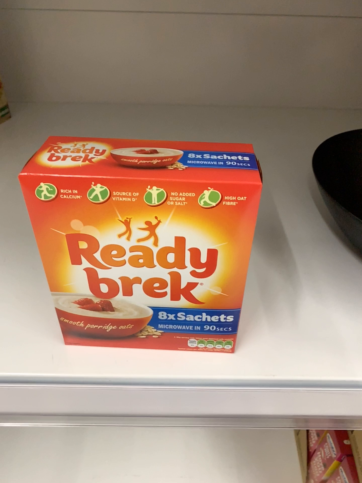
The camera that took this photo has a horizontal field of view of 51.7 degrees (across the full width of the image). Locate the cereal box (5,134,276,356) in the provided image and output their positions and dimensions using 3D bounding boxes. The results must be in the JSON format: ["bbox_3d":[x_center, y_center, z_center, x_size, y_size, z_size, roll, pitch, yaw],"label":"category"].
[{"bbox_3d":[-0.028,0.012,0.335,0.180,0.188,0.071,2,38,1],"label":"cereal box"}]
